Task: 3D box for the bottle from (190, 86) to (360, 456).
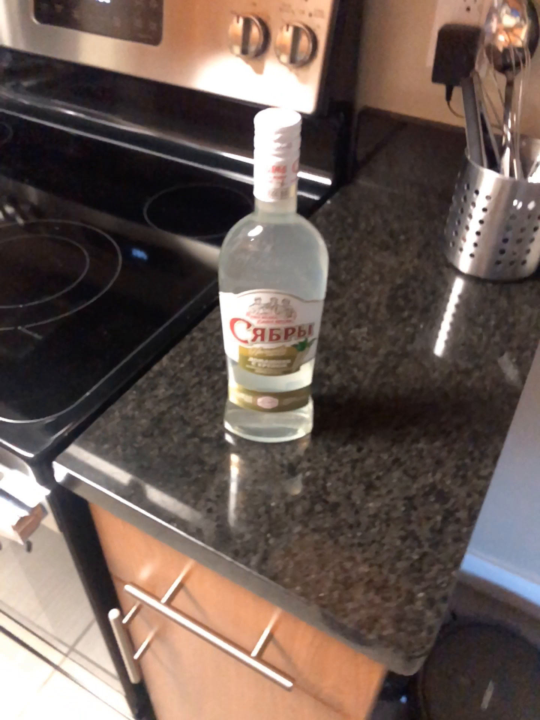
[{"bbox_3d":[0.002,-0.046,0.439,0.090,0.269,0.060,8,42,7],"label":"bottle"}]
